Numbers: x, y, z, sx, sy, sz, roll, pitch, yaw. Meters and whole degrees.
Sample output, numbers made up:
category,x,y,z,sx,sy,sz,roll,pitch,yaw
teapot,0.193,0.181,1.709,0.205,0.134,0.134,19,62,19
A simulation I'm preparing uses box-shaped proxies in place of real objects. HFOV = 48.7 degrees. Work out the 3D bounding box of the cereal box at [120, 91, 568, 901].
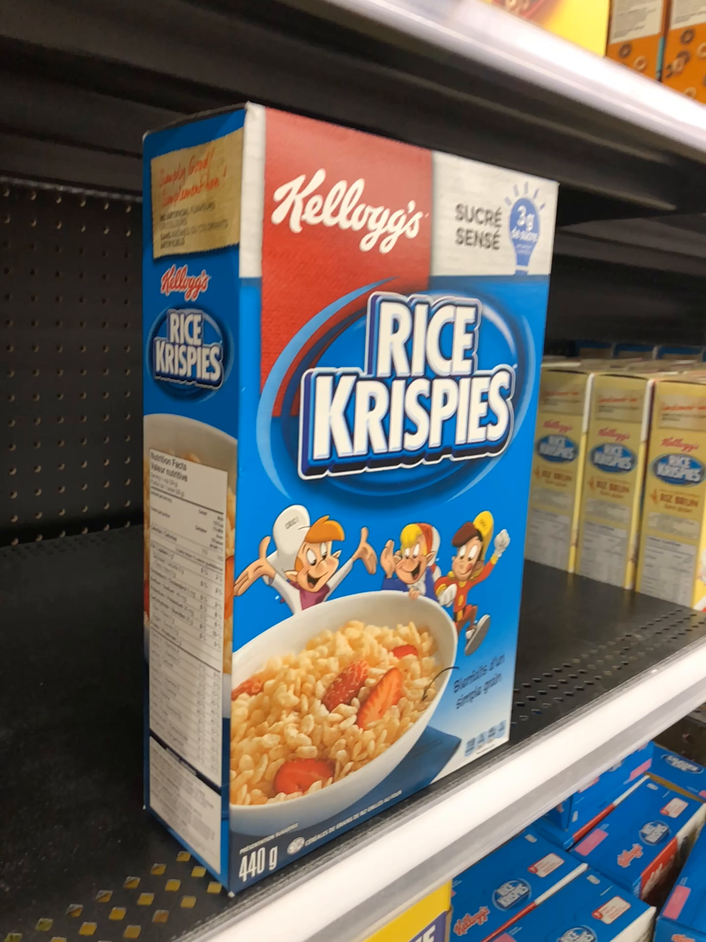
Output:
category,x,y,z,sx,sy,sz,roll,pitch,yaw
cereal box,0.000,0.006,0.378,0.200,0.299,0.080,-7,14,-42
